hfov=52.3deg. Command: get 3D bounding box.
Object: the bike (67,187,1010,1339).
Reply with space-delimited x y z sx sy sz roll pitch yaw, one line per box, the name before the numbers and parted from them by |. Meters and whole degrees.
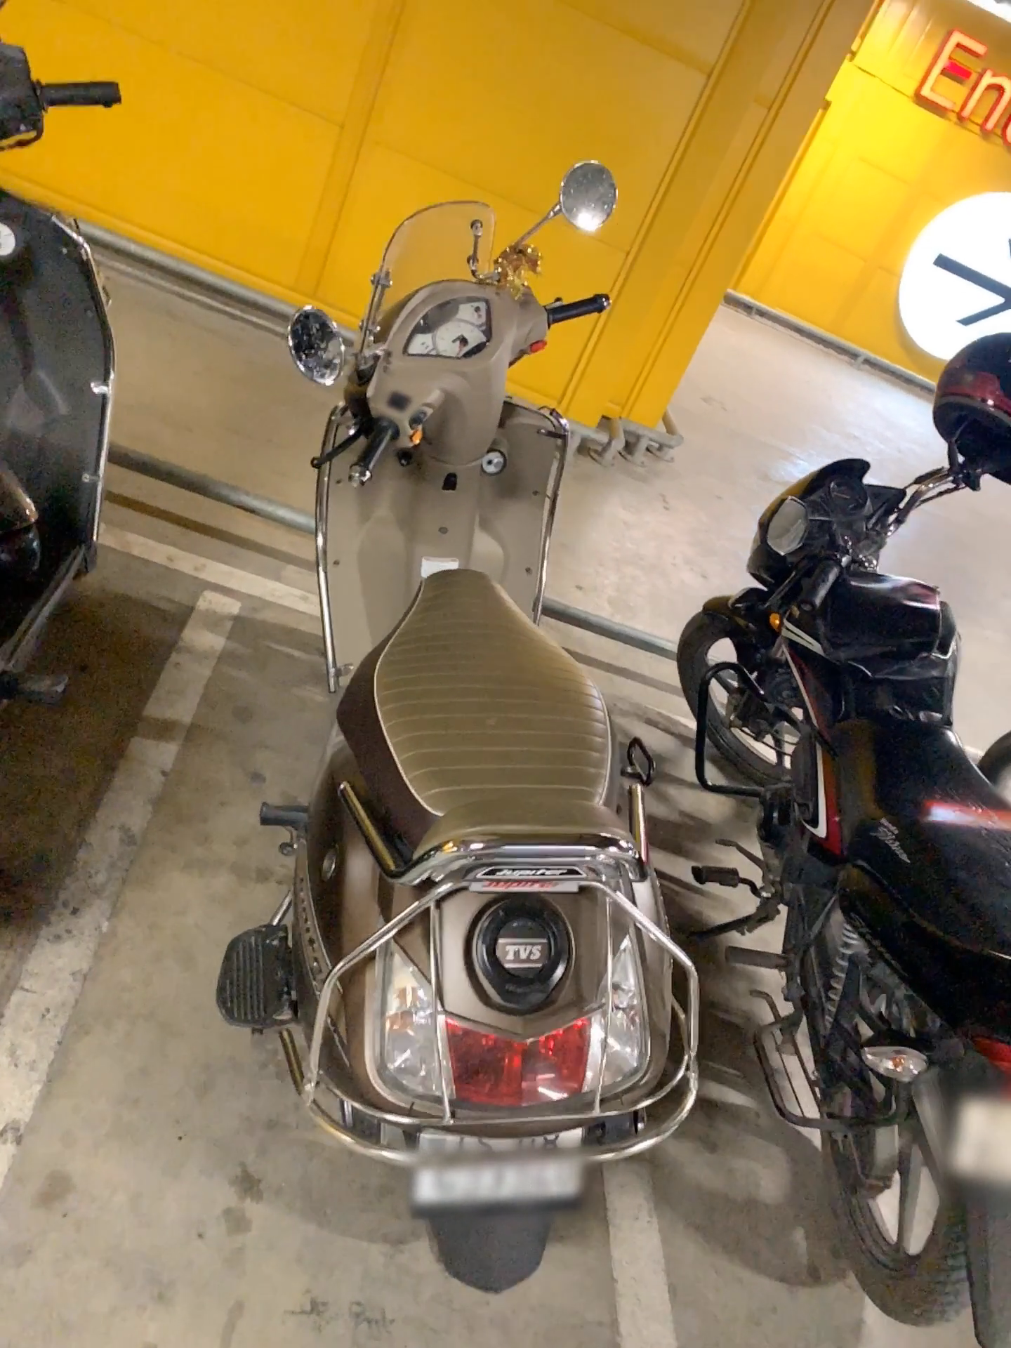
bike | -0.210 -0.008 1.656 0.604 1.027 1.559 12 31 -23
